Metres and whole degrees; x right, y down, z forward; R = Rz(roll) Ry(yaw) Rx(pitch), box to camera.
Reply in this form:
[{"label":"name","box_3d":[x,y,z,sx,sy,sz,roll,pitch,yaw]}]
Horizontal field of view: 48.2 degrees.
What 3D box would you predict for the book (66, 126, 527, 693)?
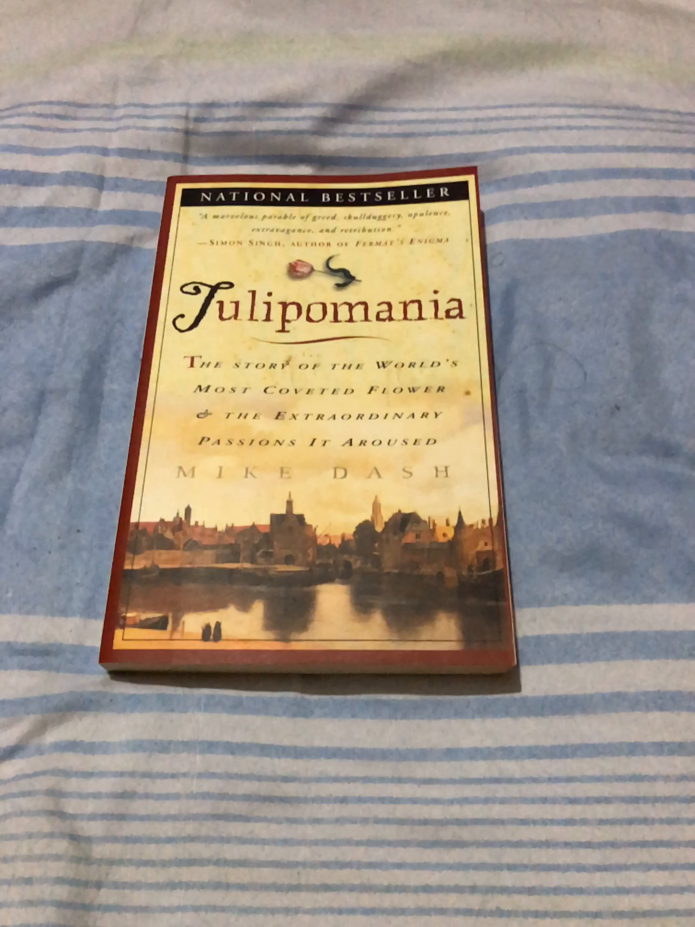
[{"label":"book","box_3d":[-0.015,-0.032,0.310,0.140,0.050,0.231,0,64,1]}]
